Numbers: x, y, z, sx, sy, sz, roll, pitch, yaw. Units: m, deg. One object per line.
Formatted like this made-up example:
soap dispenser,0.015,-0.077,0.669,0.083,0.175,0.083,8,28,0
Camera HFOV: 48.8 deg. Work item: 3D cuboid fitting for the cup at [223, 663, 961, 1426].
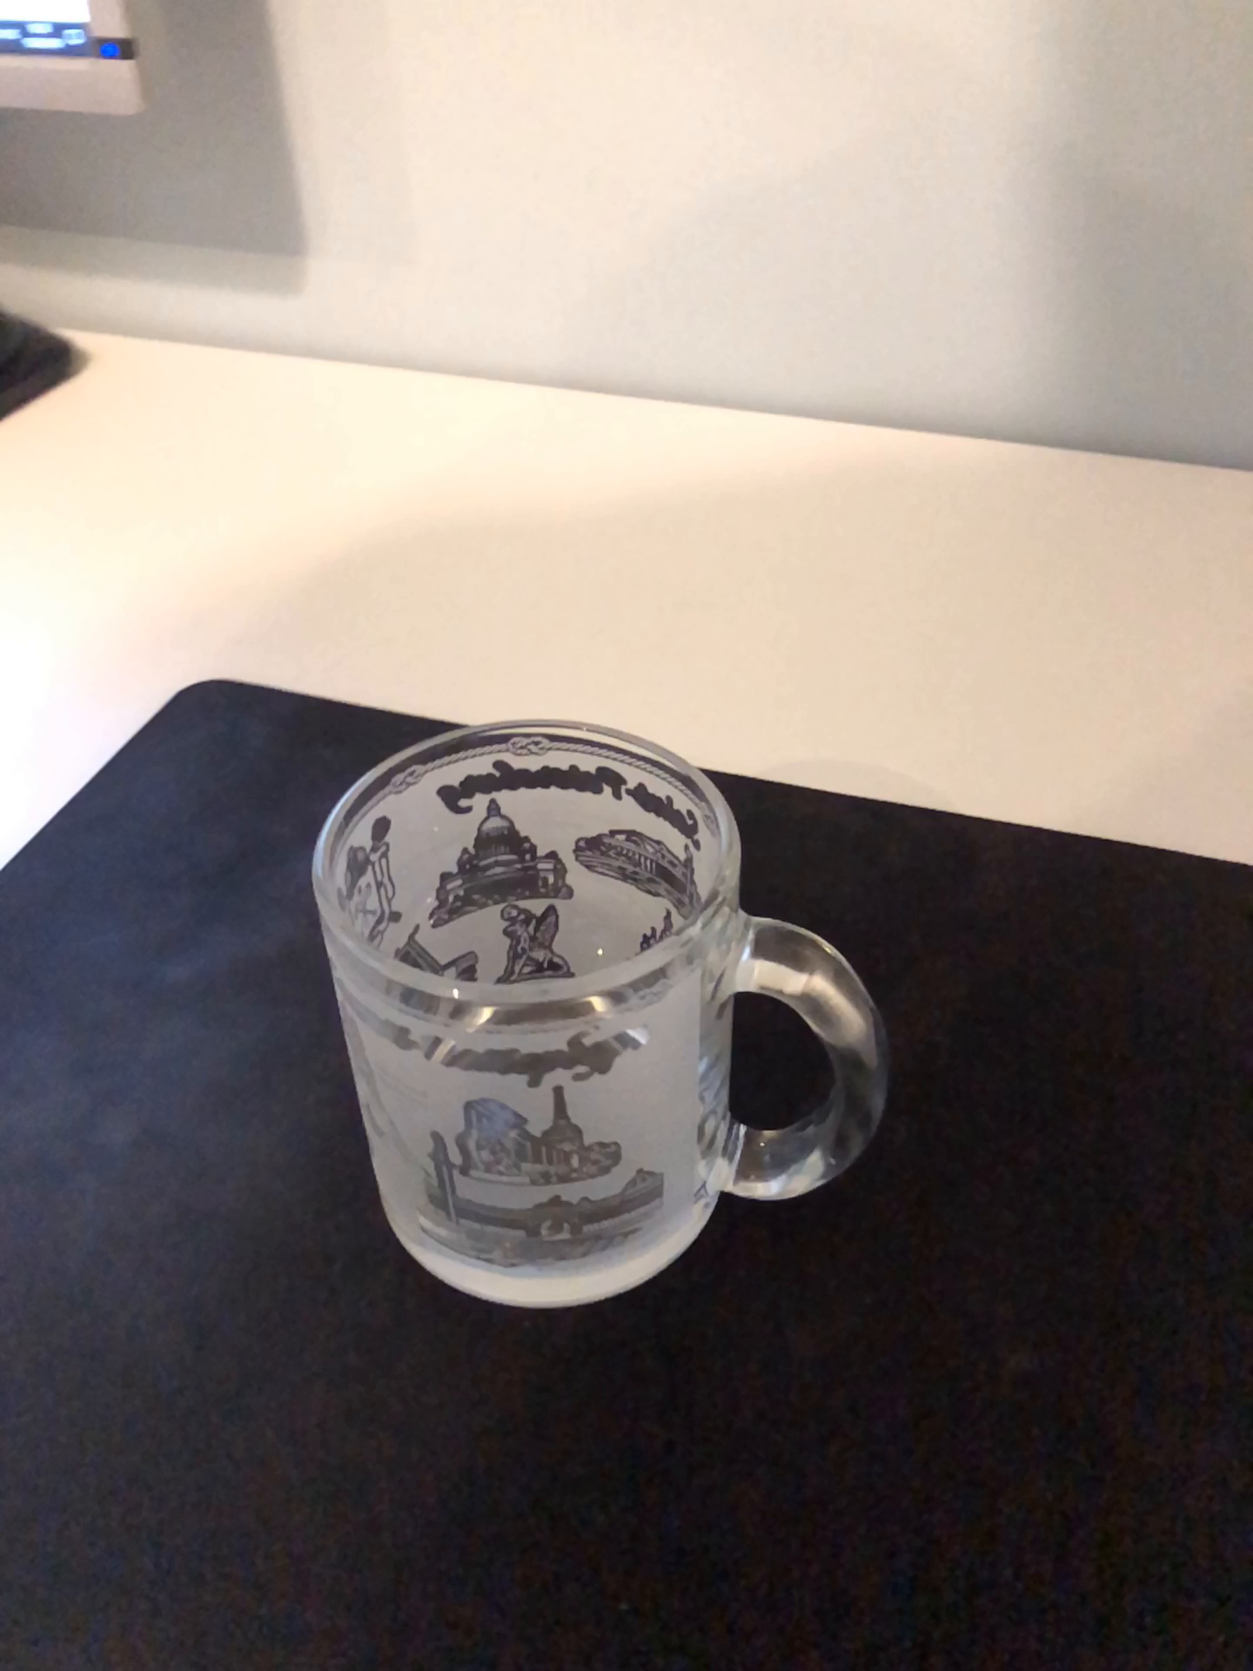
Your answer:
cup,-0.001,0.041,0.297,0.116,0.106,0.091,12,43,15
